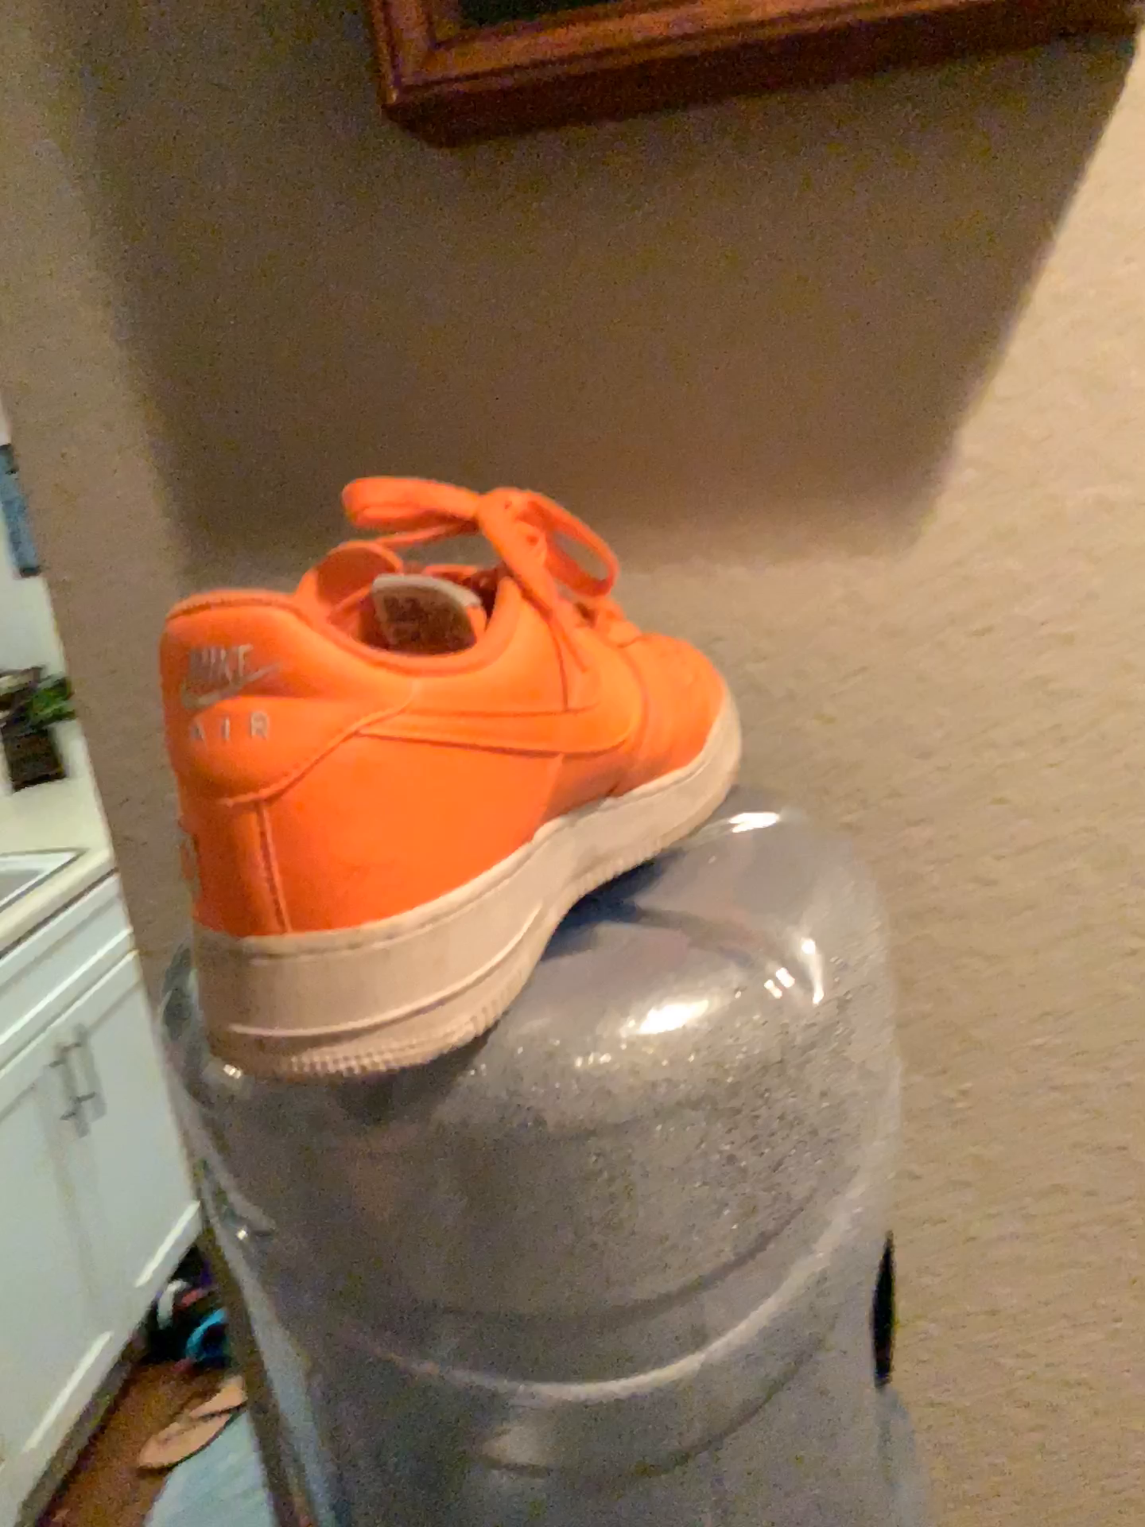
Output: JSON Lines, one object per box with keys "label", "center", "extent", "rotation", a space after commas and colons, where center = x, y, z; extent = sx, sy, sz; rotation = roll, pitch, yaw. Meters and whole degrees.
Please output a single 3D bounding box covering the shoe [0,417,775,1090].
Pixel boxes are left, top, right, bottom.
{"label": "shoe", "center": [-0.023, -0.032, 0.430], "extent": [0.120, 0.140, 0.300], "rotation": [-2, 16, 20]}
